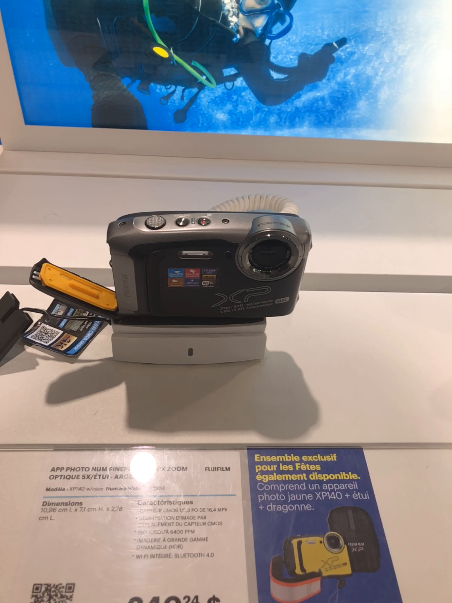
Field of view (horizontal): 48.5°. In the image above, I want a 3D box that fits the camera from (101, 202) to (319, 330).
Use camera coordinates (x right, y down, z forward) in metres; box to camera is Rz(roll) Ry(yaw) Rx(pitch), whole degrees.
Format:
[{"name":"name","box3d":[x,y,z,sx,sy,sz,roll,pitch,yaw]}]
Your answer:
[{"name":"camera","box3d":[-0.010,-0.018,0.274,0.106,0.069,0.023,-1,43,-6]}]
